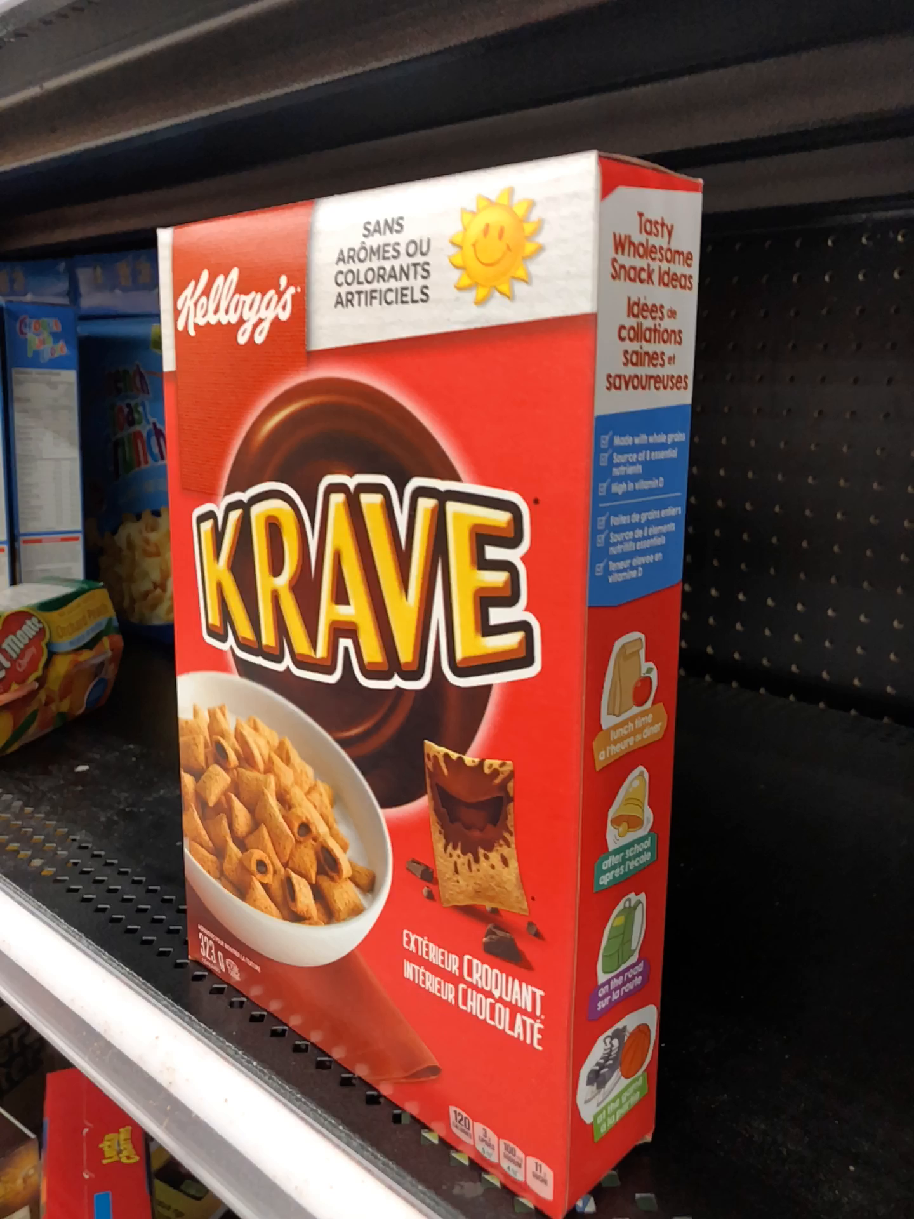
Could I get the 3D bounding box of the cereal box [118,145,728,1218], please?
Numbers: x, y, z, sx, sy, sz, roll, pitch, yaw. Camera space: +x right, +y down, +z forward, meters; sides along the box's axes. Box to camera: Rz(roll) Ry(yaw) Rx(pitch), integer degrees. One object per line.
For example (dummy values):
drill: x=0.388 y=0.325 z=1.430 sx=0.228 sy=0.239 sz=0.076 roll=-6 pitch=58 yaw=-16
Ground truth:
cereal box: x=-0.029 y=0.015 z=0.334 sx=0.210 sy=0.279 sz=0.050 roll=12 pitch=16 yaw=41
